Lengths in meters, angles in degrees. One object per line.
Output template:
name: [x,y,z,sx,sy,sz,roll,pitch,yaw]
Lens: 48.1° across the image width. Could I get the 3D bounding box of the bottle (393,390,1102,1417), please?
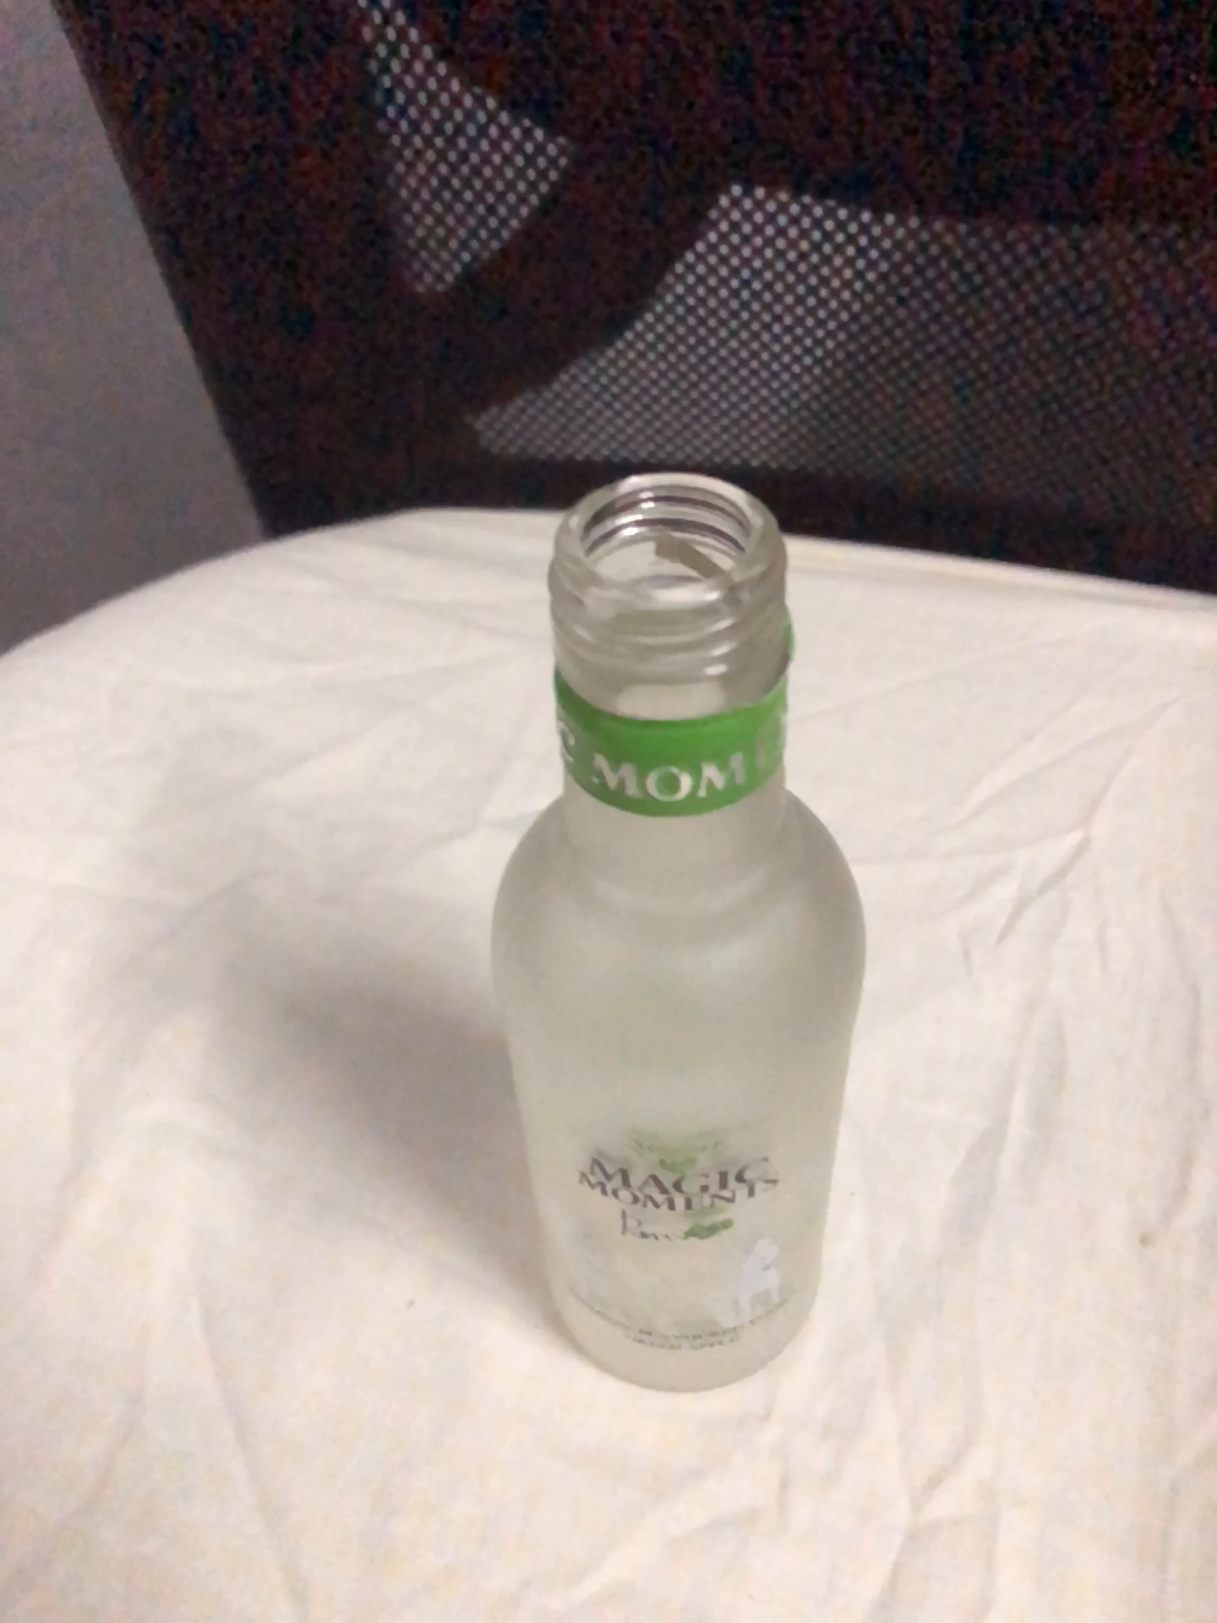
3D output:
bottle: [0.017,0.030,0.196,0.060,0.169,0.050,3,49,6]
